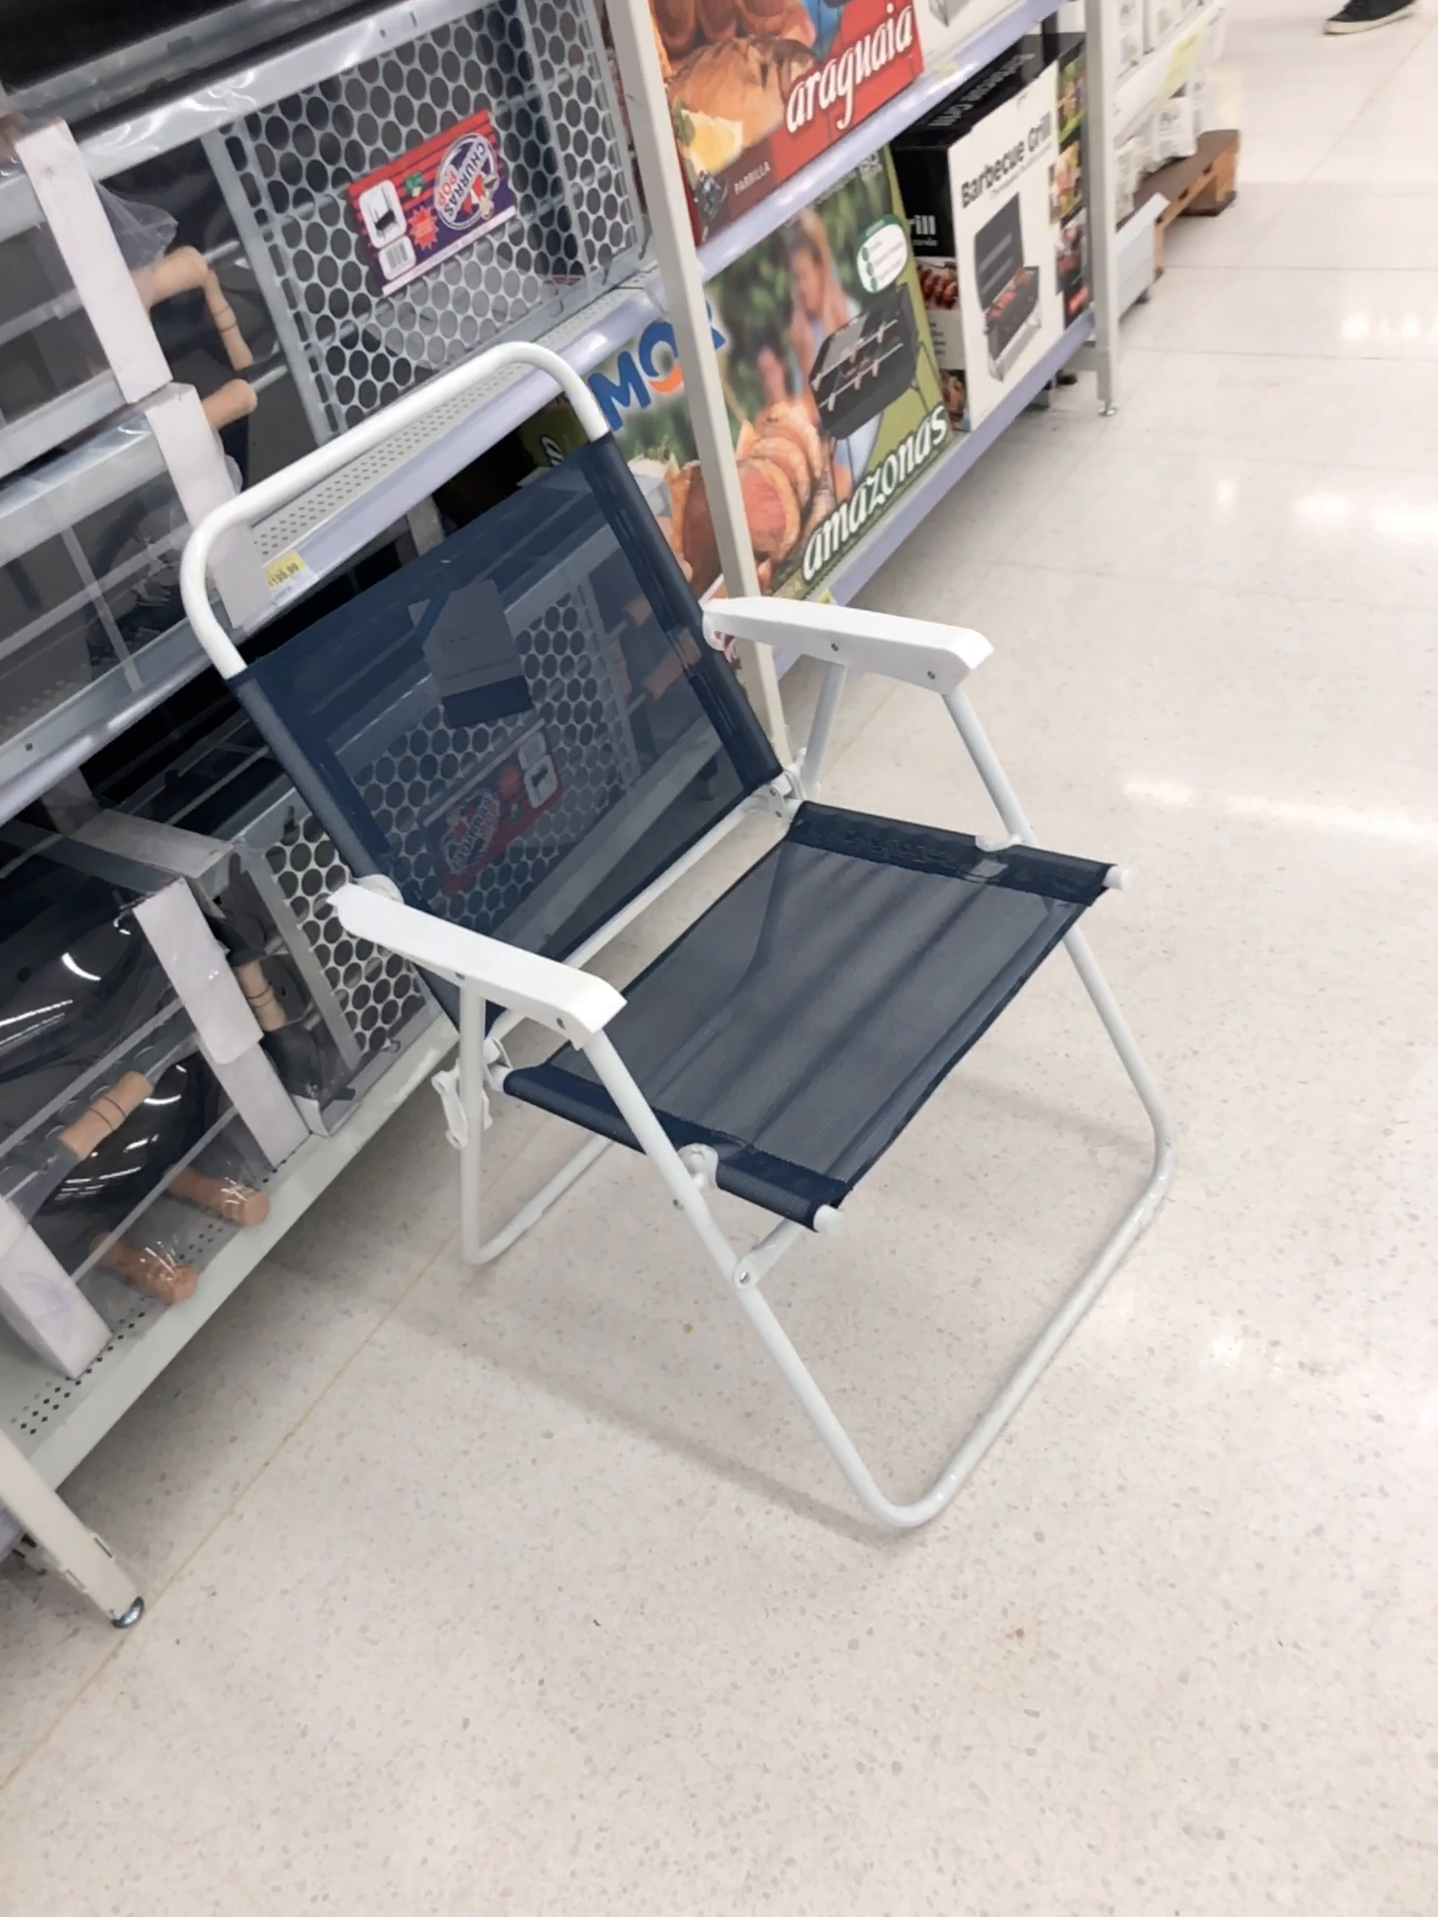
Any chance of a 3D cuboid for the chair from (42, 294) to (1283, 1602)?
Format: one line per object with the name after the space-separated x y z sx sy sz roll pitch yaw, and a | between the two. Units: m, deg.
0.010 -0.045 1.289 0.652 0.735 0.542 22 51 34 | chair
